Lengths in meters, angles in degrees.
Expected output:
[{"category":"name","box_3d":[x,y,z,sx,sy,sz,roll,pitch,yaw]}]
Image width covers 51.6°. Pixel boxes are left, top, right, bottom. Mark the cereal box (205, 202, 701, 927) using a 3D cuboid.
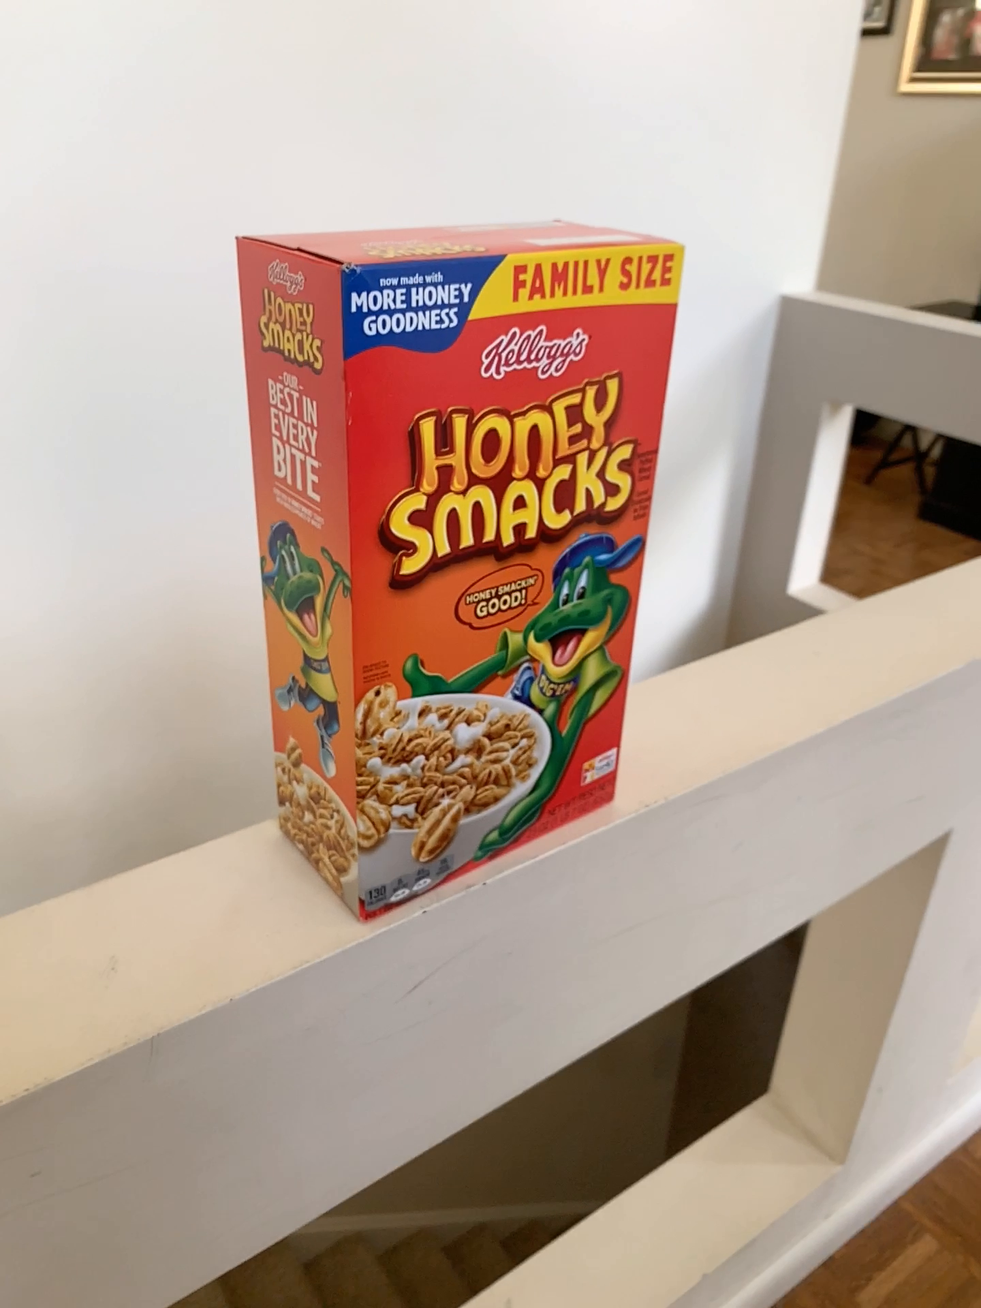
[{"category":"cereal box","box_3d":[-0.017,-0.053,0.549,0.210,0.338,0.100,-19,35,-33]}]
